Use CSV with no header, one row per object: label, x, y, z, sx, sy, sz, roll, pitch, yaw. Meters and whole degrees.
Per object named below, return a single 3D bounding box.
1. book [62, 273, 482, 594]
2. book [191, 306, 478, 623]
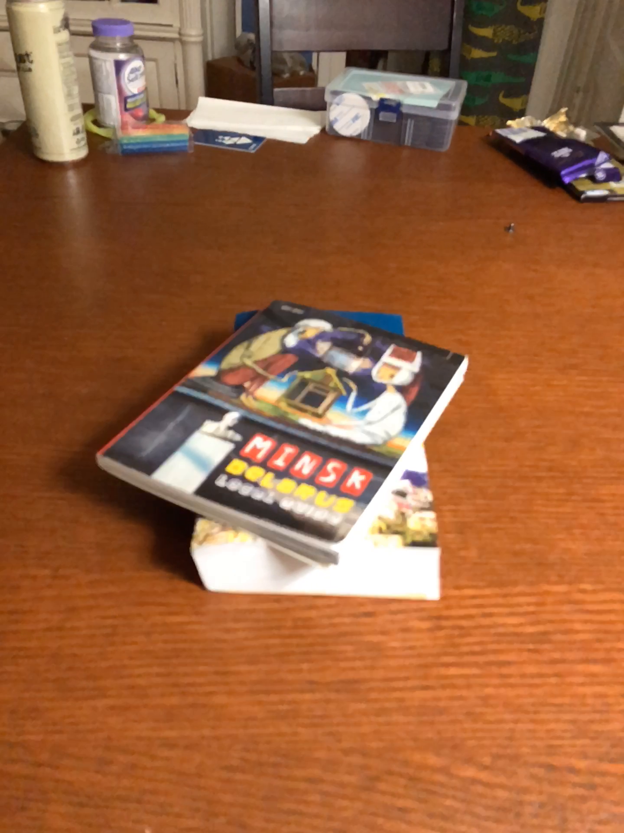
book,-0.009,-0.011,0.368,0.150,0.020,0.191,20,42,18
book,0.011,0.012,0.403,0.130,0.040,0.221,3,40,-1
